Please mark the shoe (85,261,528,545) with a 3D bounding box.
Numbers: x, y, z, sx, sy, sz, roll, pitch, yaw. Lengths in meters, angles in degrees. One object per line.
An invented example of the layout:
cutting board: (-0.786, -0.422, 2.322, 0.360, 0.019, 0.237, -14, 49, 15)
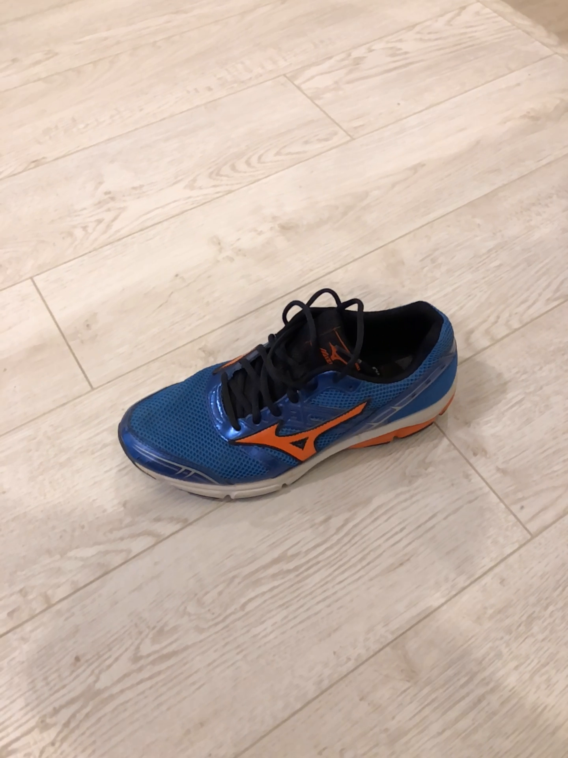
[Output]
shoe: (0.014, 0.019, 0.502, 0.300, 0.119, 0.117, -14, 59, -9)
